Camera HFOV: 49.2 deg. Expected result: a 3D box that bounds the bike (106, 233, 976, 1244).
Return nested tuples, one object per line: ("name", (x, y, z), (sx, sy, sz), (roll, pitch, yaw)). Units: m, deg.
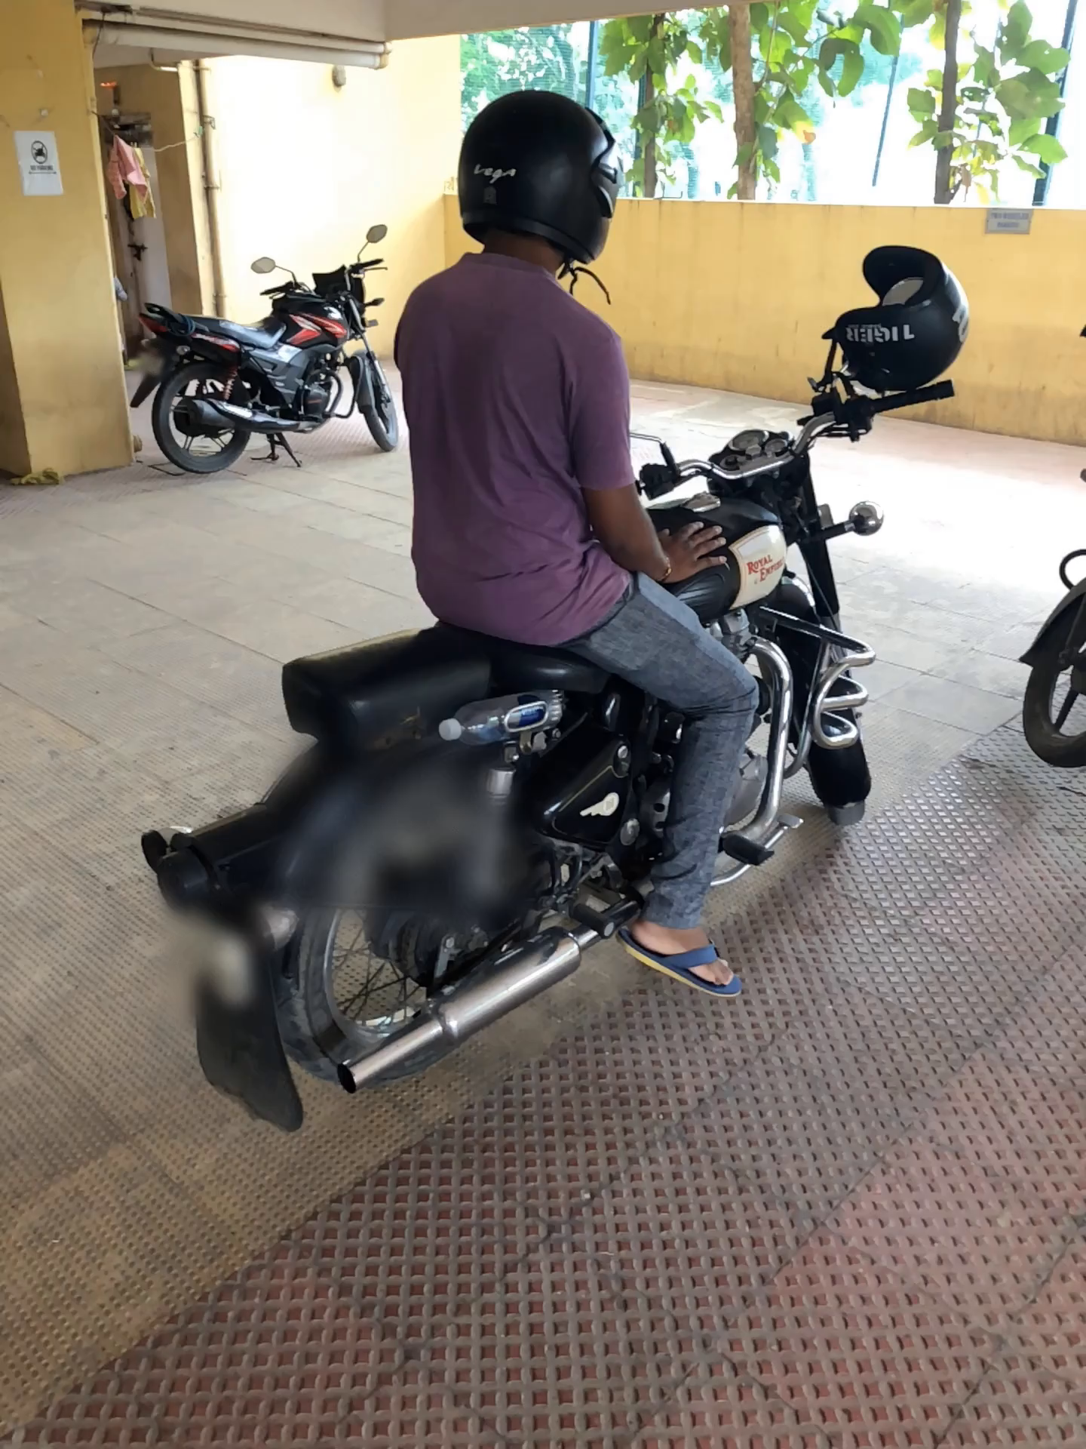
("bike", (0.125, -0.232, 2.365), (0.727, 1.096, 1.768), (18, 34, 34))
